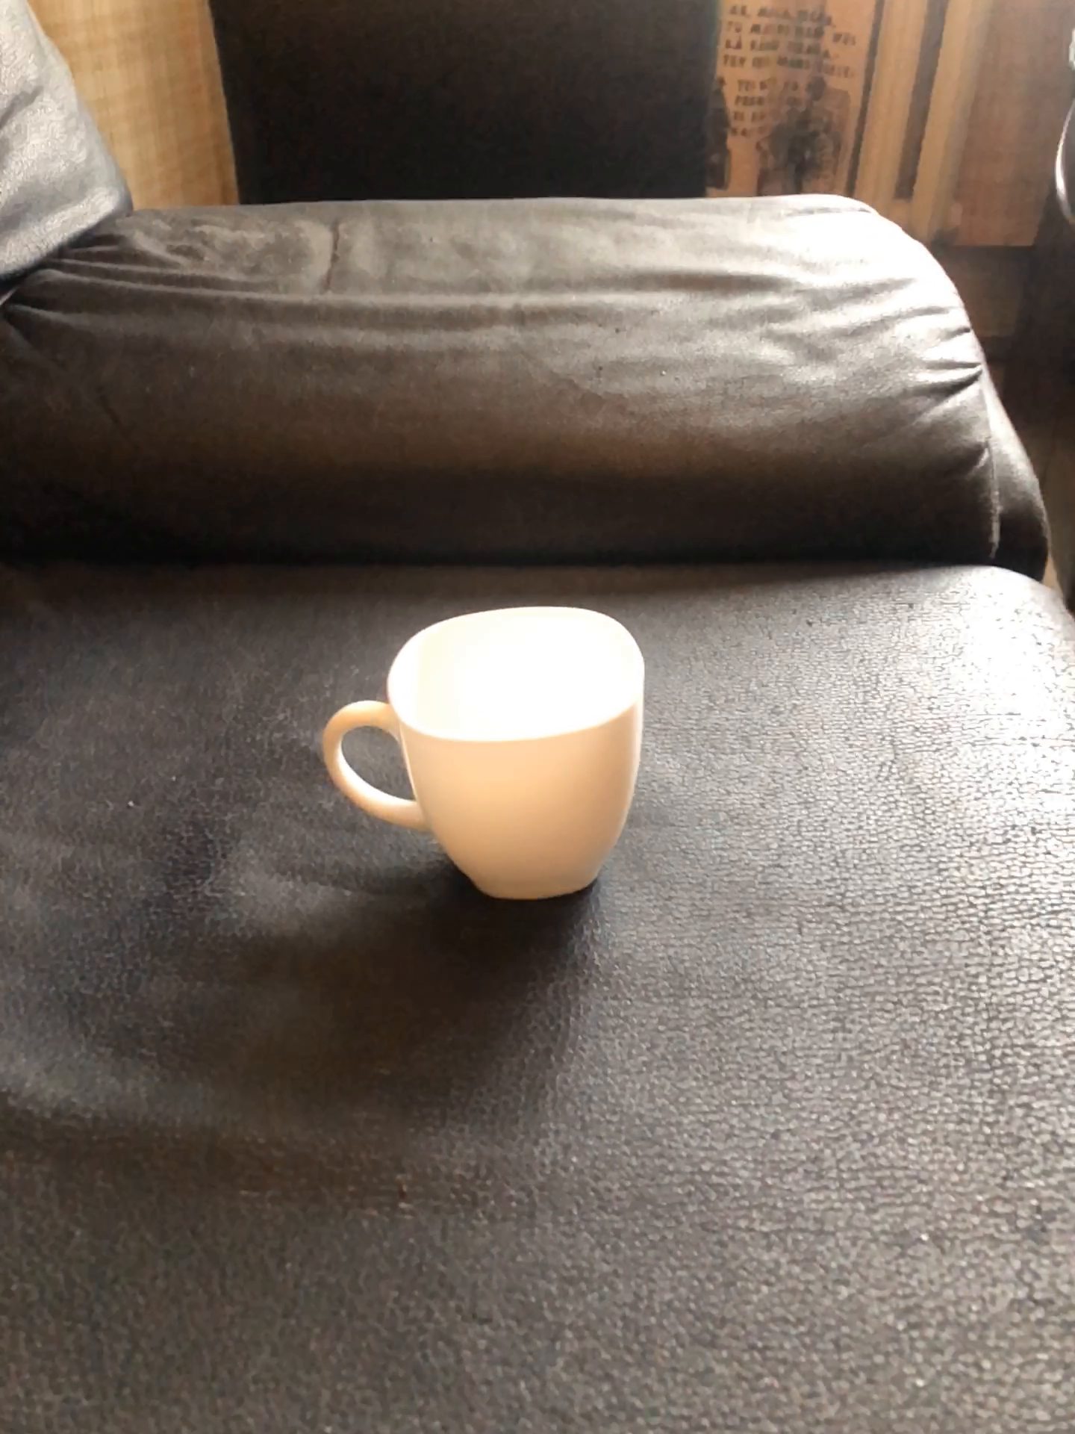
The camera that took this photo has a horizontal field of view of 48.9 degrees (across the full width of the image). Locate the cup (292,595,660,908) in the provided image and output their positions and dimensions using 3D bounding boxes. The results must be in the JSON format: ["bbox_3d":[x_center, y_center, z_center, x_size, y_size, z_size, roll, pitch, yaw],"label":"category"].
[{"bbox_3d":[-0.013,0.008,0.373,0.101,0.063,0.081,0,33,4],"label":"cup"}]
